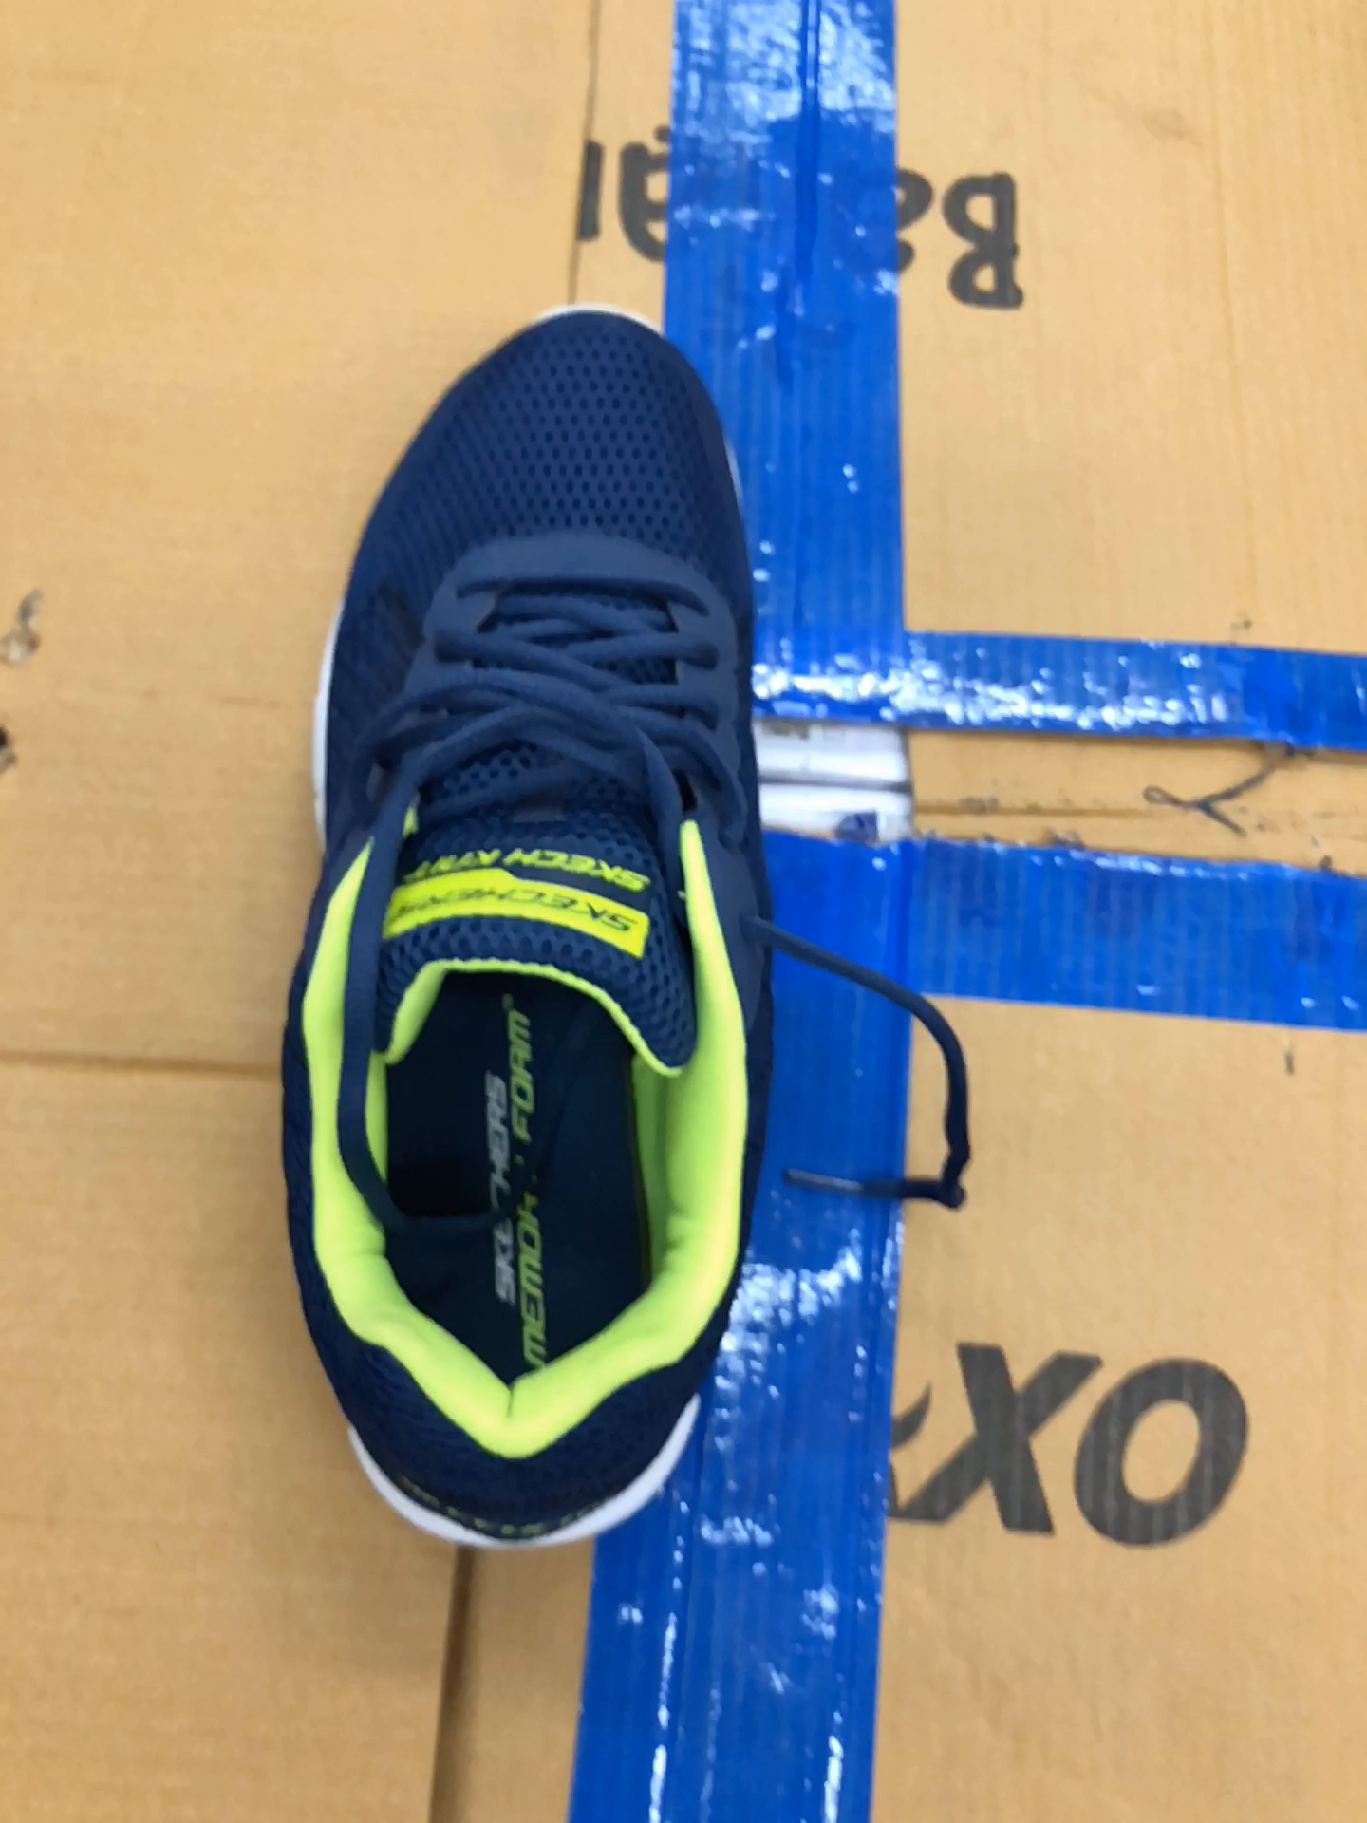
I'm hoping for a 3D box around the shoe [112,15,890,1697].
[{"bbox_3d":[-0.028,-0.013,0.318,0.110,0.130,0.290,1,75,-3],"label":"shoe"}]
